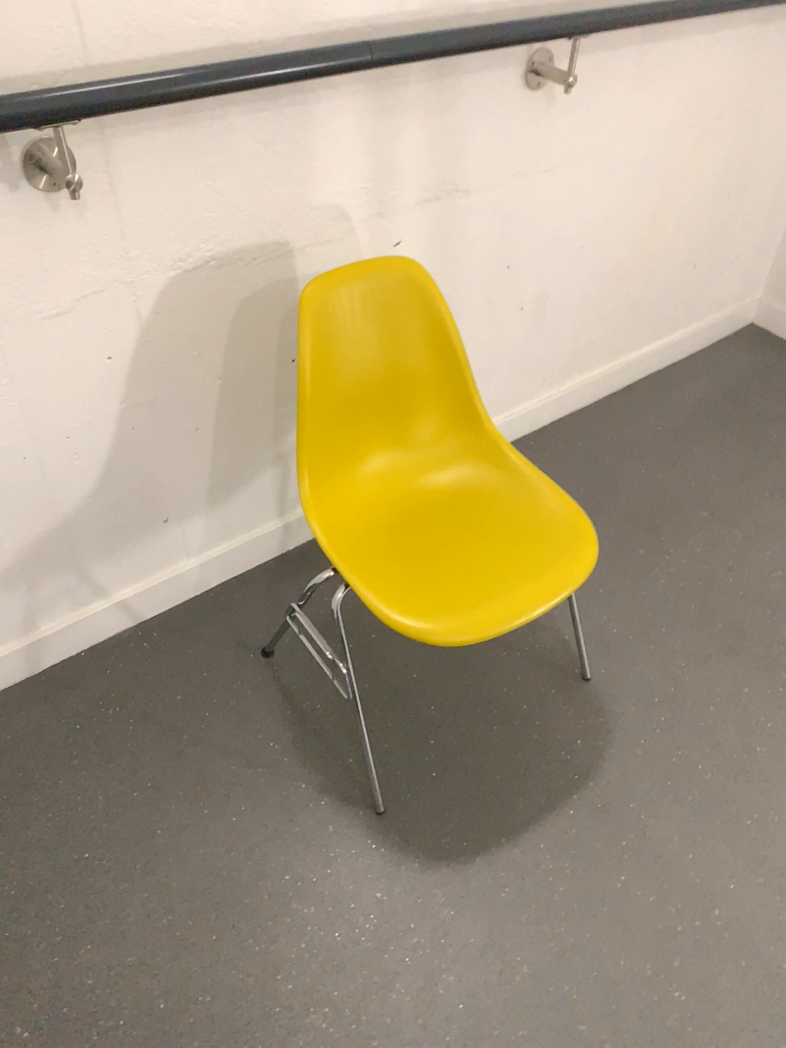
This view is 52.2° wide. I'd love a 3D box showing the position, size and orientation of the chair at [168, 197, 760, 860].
[{"bbox_3d":[0.083,-0.004,1.402,0.632,0.822,0.543,-26,50,-28],"label":"chair"}]
